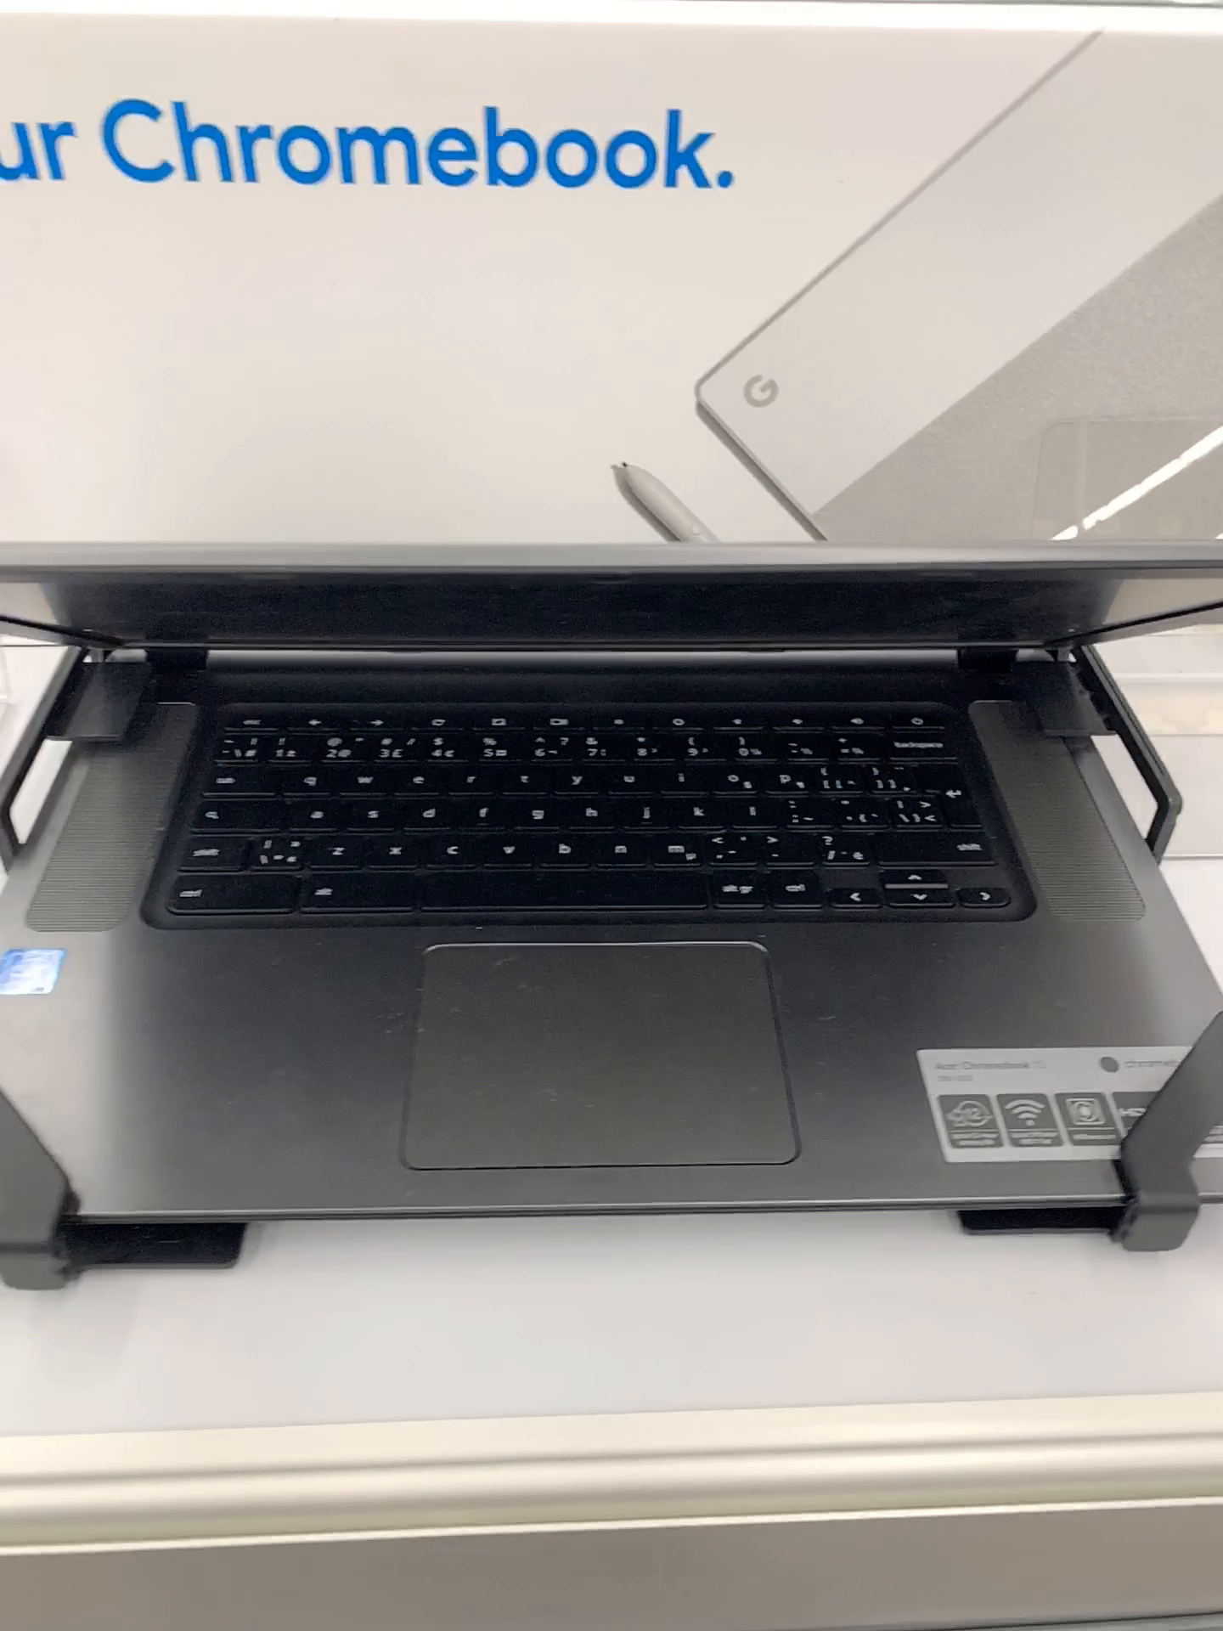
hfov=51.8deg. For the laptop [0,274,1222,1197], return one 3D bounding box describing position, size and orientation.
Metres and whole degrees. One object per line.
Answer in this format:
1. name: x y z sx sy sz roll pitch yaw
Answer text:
1. laptop: -0.005 -0.031 0.299 0.301 0.116 0.194 0 43 -2
